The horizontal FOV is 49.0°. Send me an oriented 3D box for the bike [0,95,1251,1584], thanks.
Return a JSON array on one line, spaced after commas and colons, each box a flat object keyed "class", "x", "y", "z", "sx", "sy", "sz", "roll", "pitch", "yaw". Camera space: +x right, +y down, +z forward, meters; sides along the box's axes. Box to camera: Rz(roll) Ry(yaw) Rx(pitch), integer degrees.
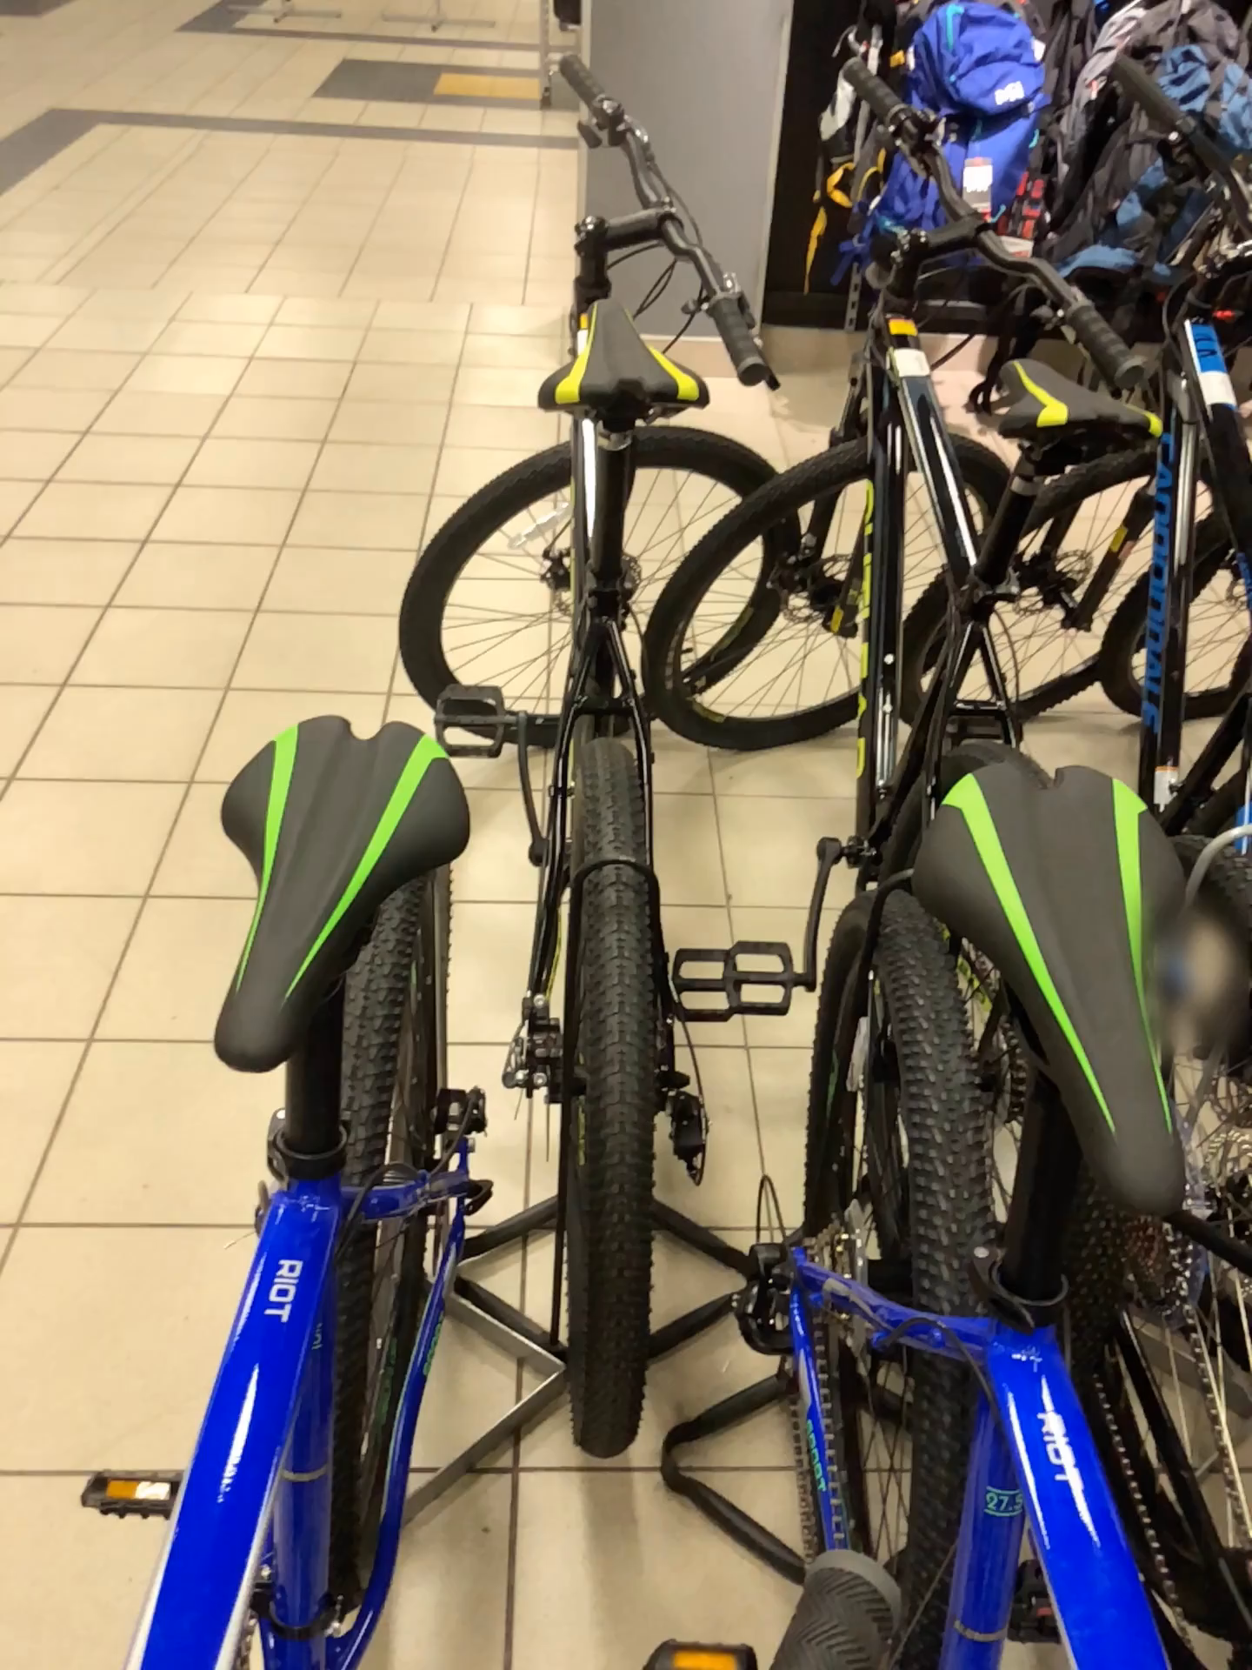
[{"class": "bike", "x": -0.240, "y": -0.127, "z": 1.524, "sx": 0.661, "sy": 1.044, "sz": 1.359, "roll": -5, "pitch": 35, "yaw": -11}]
